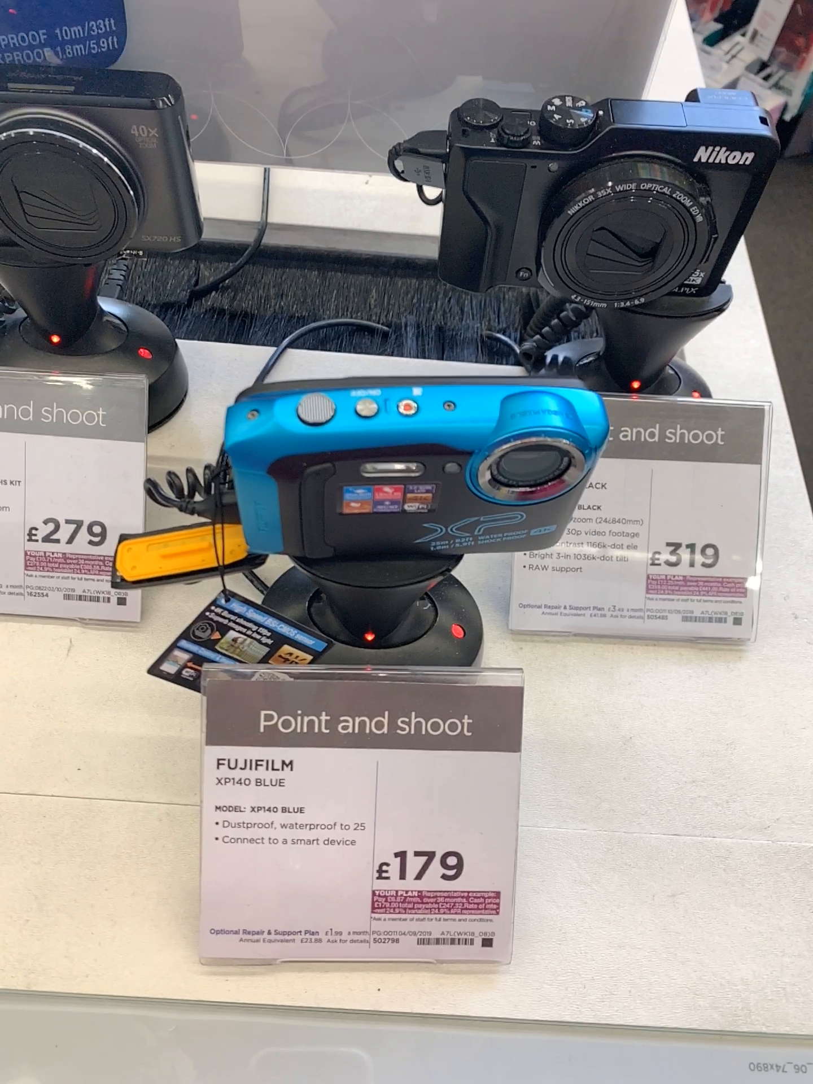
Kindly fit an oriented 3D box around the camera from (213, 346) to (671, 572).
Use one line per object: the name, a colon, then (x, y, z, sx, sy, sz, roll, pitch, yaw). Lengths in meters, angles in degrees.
camera: (0.007, -0.021, 0.232, 0.110, 0.060, 0.030, -2, 58, -5)
